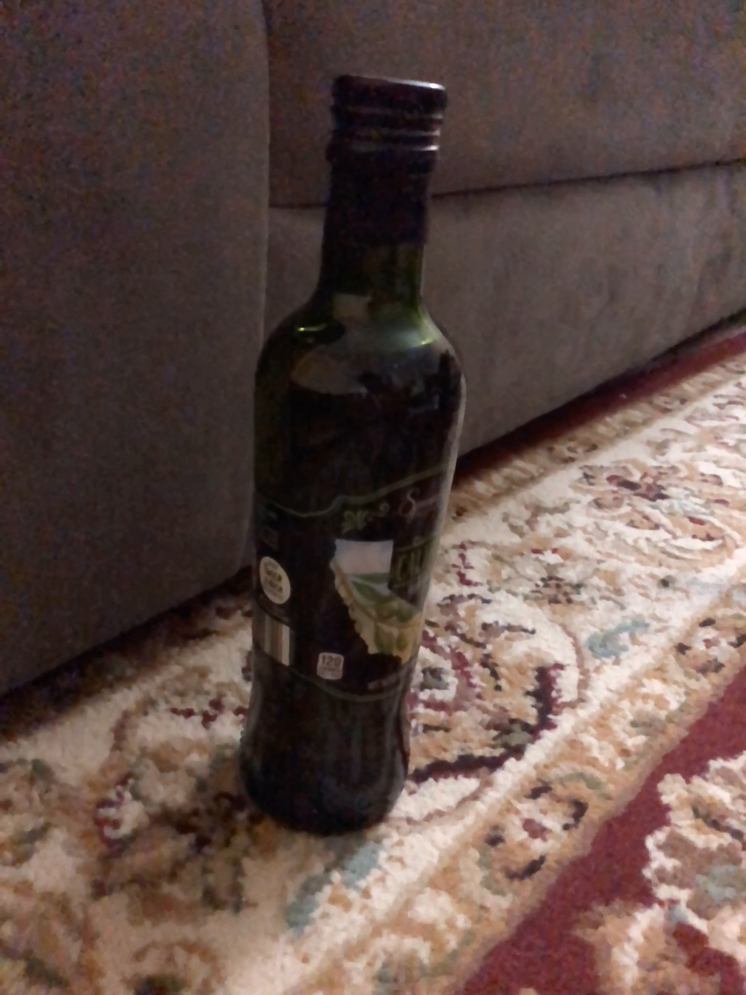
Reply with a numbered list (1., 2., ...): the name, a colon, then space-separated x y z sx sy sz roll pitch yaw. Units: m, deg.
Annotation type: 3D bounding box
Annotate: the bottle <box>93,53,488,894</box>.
1. bottle: -0.026 -0.001 0.281 0.070 0.259 0.080 22 32 34
